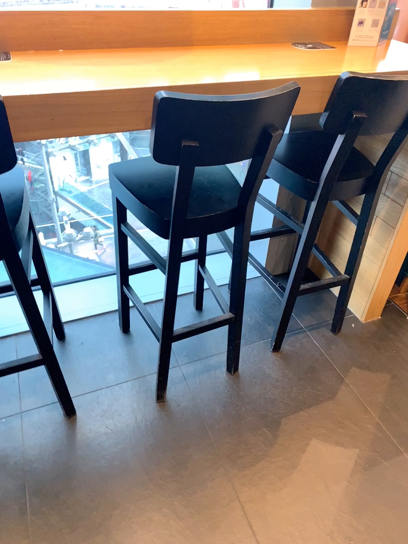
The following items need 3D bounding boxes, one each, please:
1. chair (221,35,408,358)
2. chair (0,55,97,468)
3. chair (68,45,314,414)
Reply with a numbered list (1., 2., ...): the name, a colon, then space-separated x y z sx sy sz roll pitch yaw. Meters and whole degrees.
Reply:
1. chair: 0.385 -0.252 1.513 0.423 1.001 0.464 -14 40 -21
2. chair: -0.597 0.006 1.152 0.393 1.001 0.464 -12 40 -19
3. chair: -0.075 -0.112 1.323 0.453 1.001 0.464 -15 41 -22
